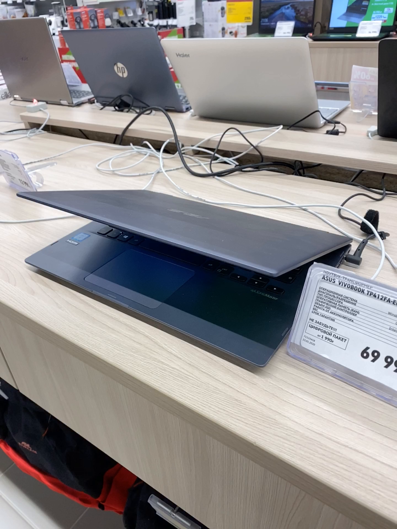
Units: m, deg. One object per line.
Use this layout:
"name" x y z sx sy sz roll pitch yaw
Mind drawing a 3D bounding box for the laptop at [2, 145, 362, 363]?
"laptop" -0.019 -0.049 0.471 0.331 0.079 0.226 18 39 30
